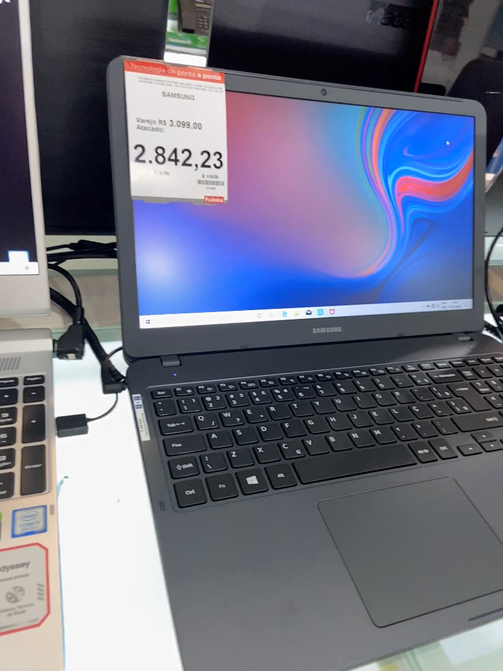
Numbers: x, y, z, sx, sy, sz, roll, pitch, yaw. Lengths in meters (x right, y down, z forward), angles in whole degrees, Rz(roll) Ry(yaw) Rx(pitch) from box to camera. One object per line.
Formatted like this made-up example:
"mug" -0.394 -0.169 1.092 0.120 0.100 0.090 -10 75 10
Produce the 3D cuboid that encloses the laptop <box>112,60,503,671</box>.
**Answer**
"laptop" 0.105 -0.037 0.381 0.367 0.193 0.371 -3 37 -20
